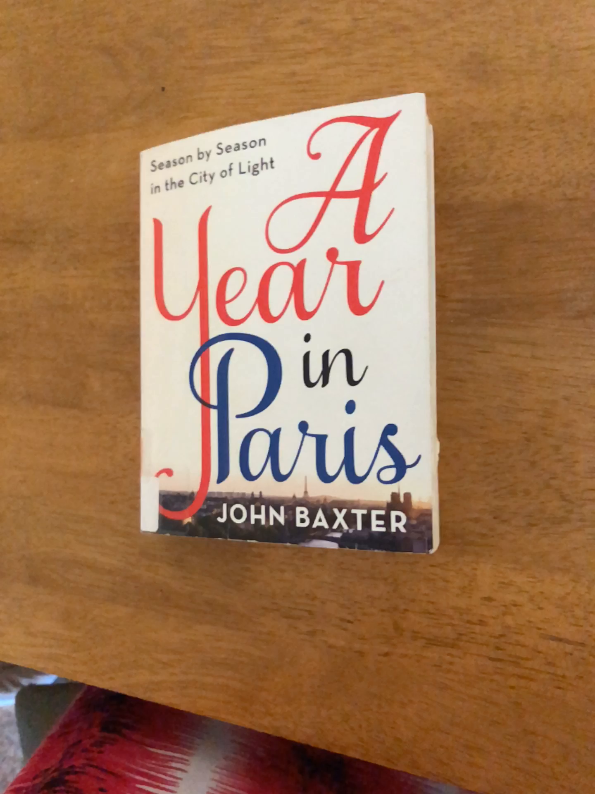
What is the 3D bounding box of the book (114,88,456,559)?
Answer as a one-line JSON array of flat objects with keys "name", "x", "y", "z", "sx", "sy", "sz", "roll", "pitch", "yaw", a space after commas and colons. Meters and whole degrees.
[{"name": "book", "x": -0.008, "y": -0.027, "z": 0.301, "sx": 0.150, "sy": 0.040, "sz": 0.182, "roll": -1, "pitch": 88, "yaw": 22}]
